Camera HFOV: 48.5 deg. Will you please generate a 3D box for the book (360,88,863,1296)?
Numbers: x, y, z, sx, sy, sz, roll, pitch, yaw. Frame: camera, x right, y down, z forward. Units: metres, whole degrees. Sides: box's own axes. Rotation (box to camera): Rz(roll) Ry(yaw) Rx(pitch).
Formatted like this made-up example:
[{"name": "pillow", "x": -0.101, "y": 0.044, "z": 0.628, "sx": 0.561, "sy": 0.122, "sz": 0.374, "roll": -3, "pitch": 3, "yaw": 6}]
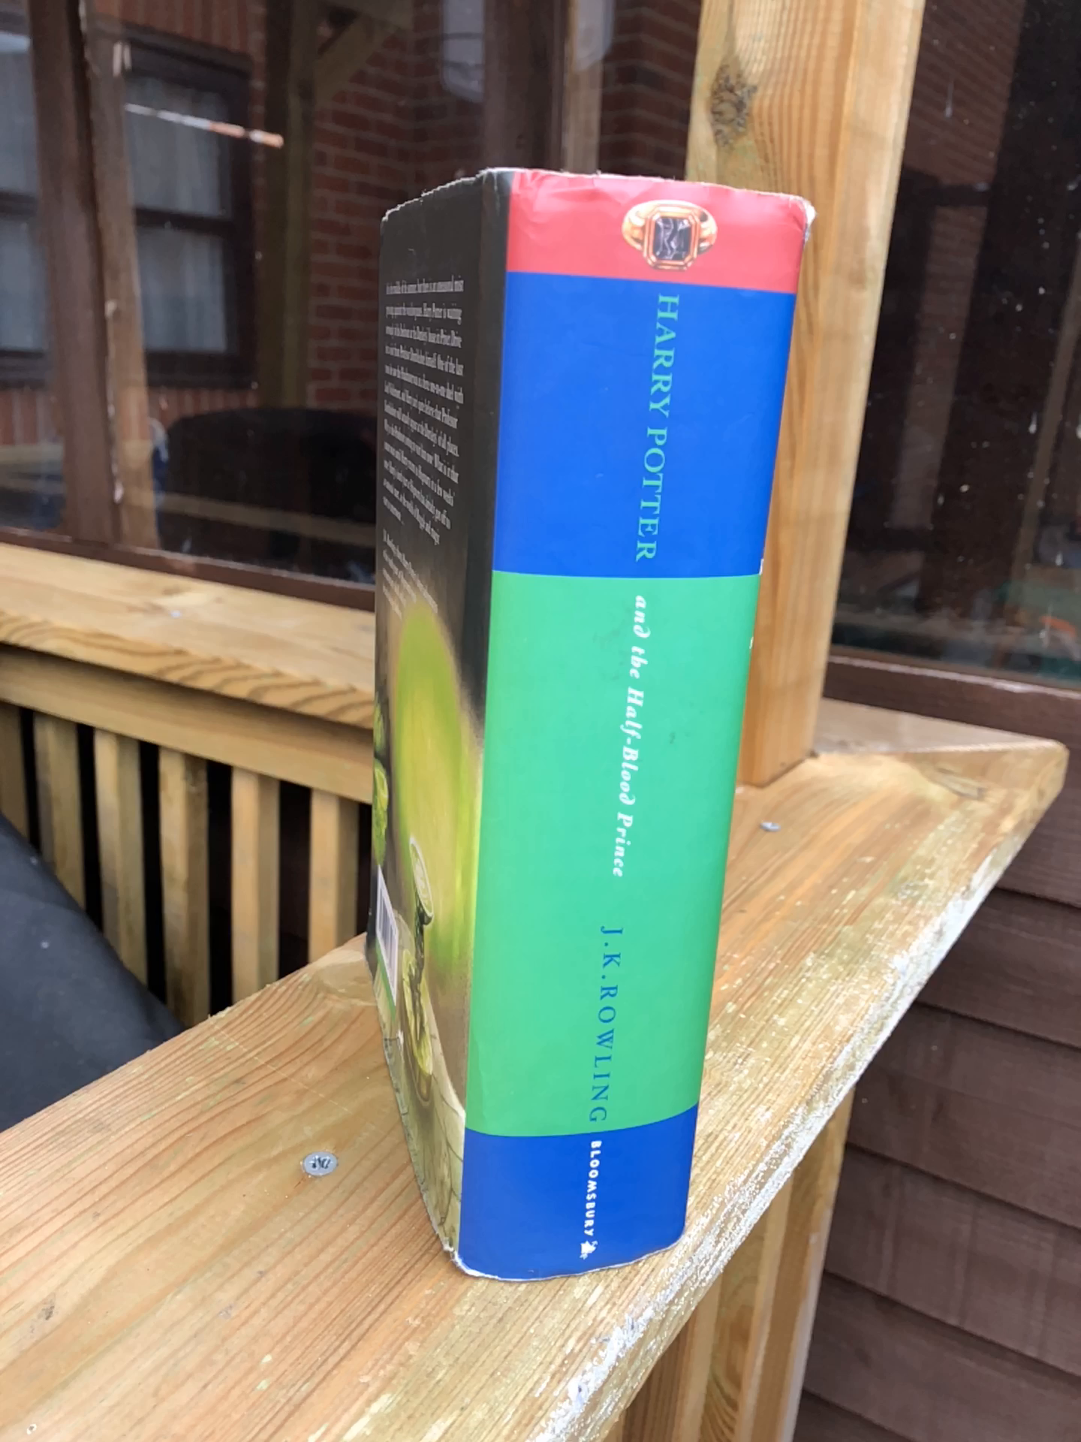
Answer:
[{"name": "book", "x": -0.001, "y": -0.012, "z": 0.275, "sx": 0.060, "sy": 0.209, "sz": 0.141, "roll": -2, "pitch": 16, "yaw": -16}]
